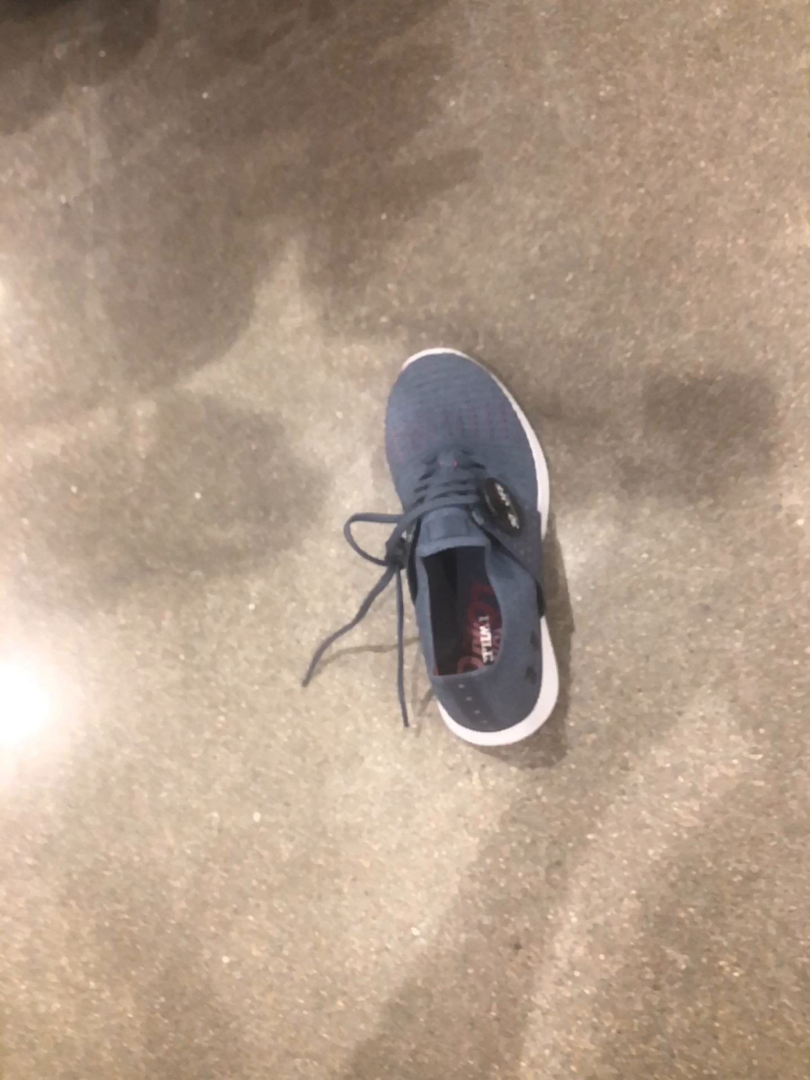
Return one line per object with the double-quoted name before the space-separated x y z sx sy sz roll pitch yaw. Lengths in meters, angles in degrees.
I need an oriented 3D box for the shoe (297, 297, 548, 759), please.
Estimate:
"shoe" 0.010 -0.002 0.559 0.100 0.110 0.250 -12 69 15
